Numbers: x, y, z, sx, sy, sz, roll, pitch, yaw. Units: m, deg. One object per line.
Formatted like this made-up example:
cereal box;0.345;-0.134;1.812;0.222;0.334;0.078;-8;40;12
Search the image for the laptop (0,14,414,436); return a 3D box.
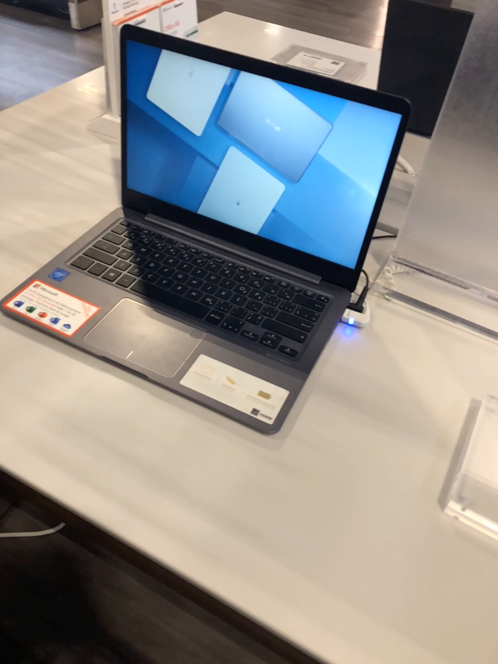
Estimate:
laptop;-0.048;-0.136;0.567;0.333;0.180;0.301;21;52;13
